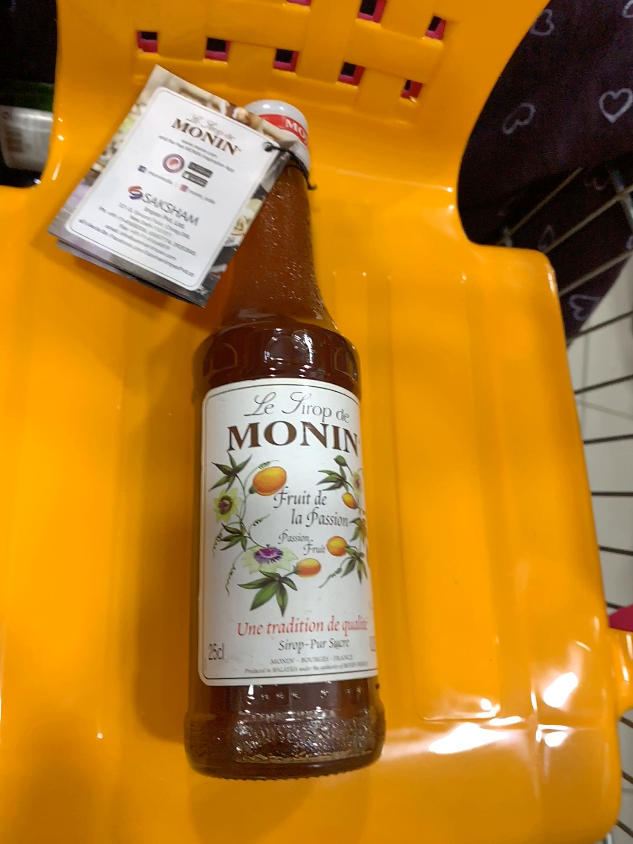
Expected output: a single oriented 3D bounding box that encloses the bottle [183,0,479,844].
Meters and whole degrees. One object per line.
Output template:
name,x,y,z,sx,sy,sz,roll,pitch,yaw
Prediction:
bottle,-0.004,-0.013,0.196,0.060,0.060,0.220,3,73,-14
